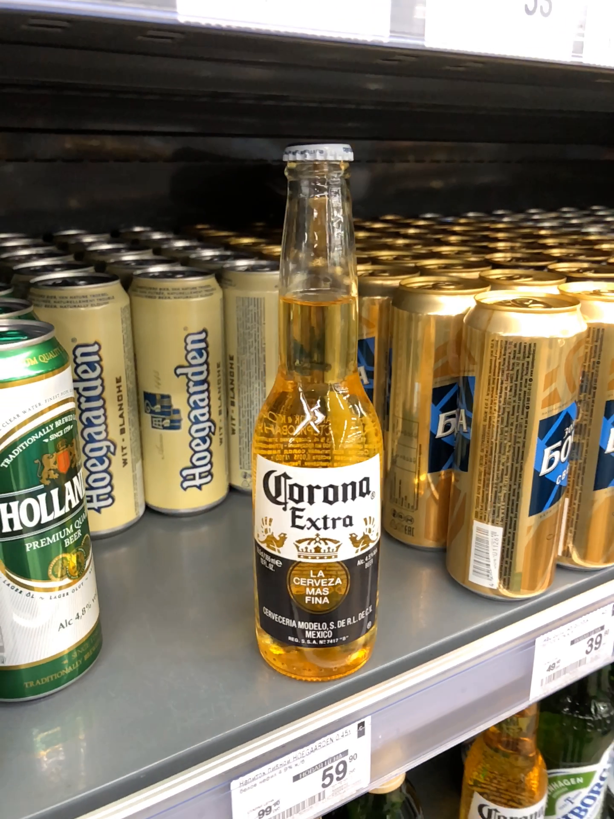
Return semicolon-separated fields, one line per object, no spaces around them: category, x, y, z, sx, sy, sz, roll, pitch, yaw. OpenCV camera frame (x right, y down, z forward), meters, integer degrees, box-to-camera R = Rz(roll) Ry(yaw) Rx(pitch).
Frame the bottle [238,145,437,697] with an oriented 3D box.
bottle;0.008;0.009;0.305;0.070;0.237;0.060;-1;19;-5
